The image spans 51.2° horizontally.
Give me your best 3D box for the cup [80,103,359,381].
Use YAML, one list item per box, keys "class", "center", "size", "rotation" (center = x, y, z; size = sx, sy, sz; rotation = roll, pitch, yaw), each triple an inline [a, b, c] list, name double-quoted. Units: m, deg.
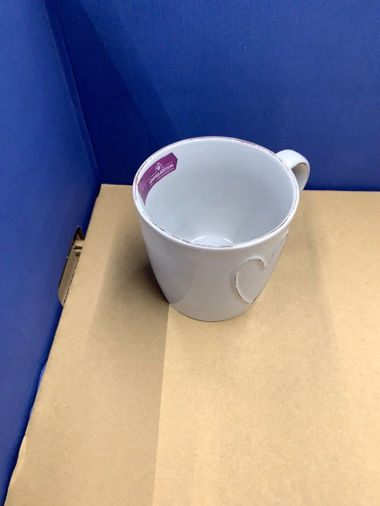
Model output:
- class: "cup"
  center: [0.021, -0.014, 0.243]
  size: [0.091, 0.085, 0.125]
  rotation: [32, 57, 27]
